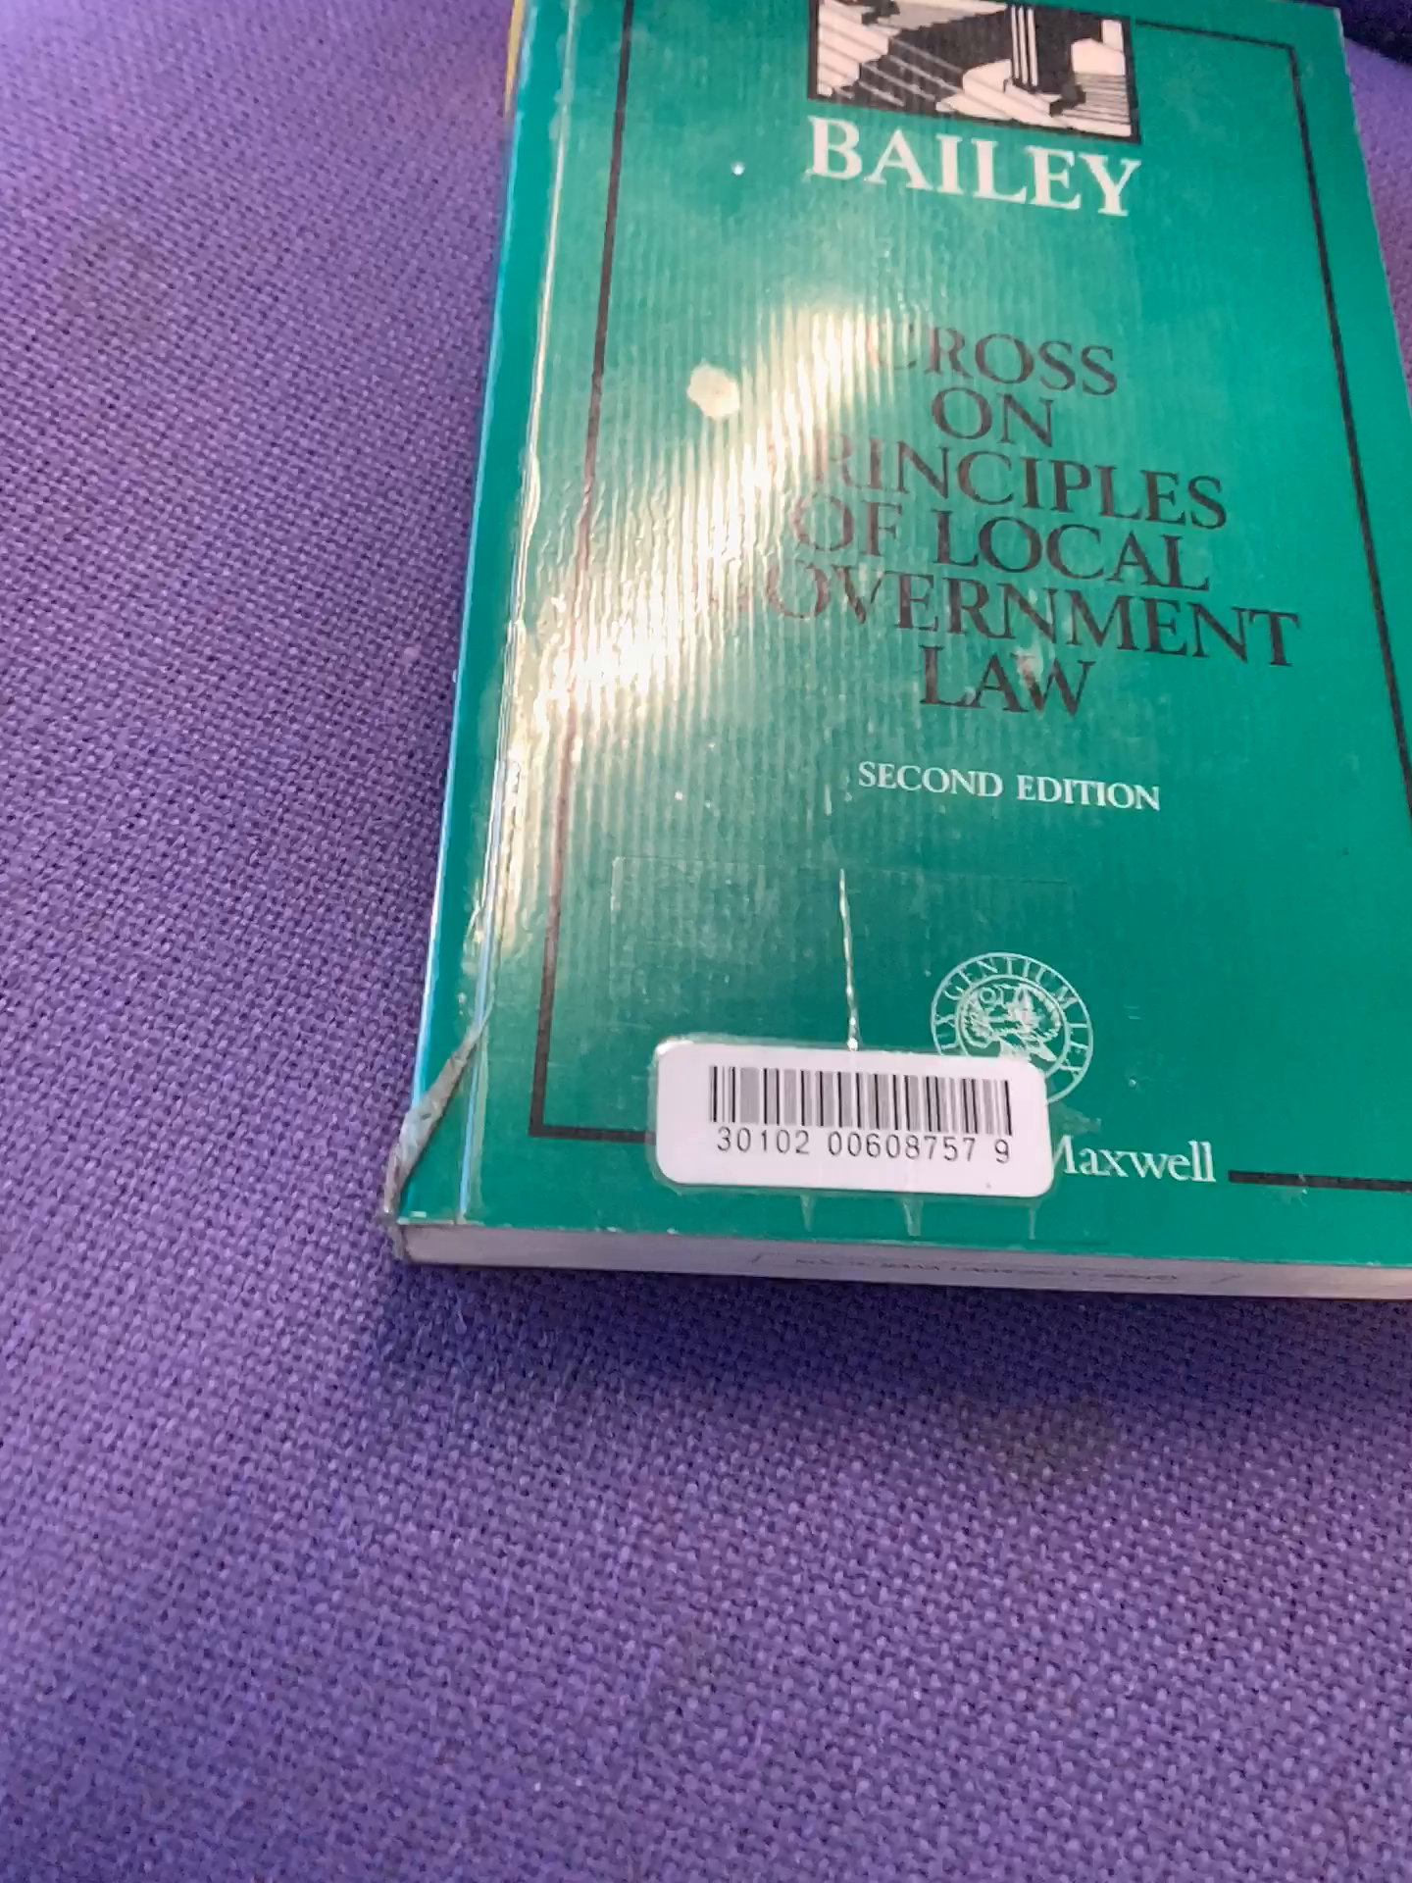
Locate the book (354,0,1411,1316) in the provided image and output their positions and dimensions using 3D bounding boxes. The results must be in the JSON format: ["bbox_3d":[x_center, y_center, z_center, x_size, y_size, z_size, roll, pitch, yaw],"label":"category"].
[{"bbox_3d":[0.039,-0.065,0.238,0.160,0.040,0.237,4,66,-7],"label":"book"}]
